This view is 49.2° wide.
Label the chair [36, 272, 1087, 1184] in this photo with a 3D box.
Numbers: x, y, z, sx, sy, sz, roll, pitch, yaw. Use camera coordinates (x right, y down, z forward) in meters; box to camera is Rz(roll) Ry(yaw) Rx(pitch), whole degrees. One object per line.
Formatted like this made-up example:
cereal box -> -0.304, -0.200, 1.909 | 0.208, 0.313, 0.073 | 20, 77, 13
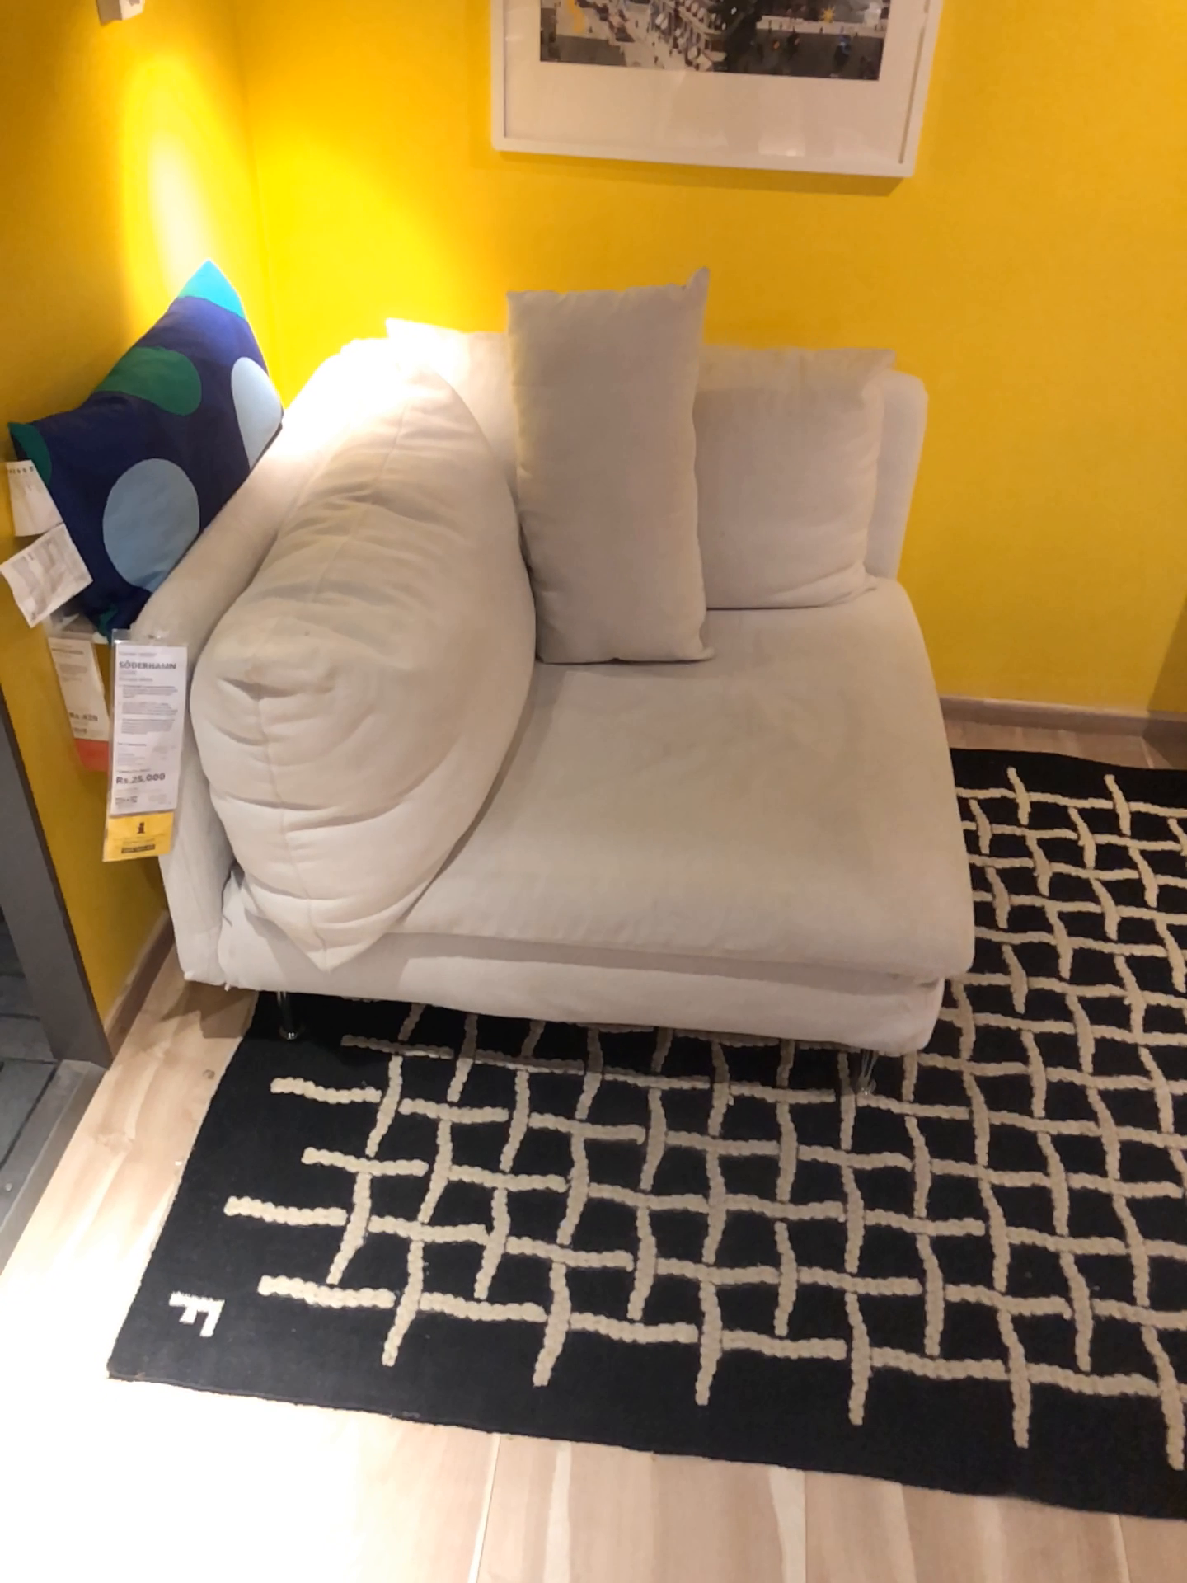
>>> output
chair -> 0.003, -0.177, 1.907 | 1.010, 0.755, 1.118 | 5, 38, 4
